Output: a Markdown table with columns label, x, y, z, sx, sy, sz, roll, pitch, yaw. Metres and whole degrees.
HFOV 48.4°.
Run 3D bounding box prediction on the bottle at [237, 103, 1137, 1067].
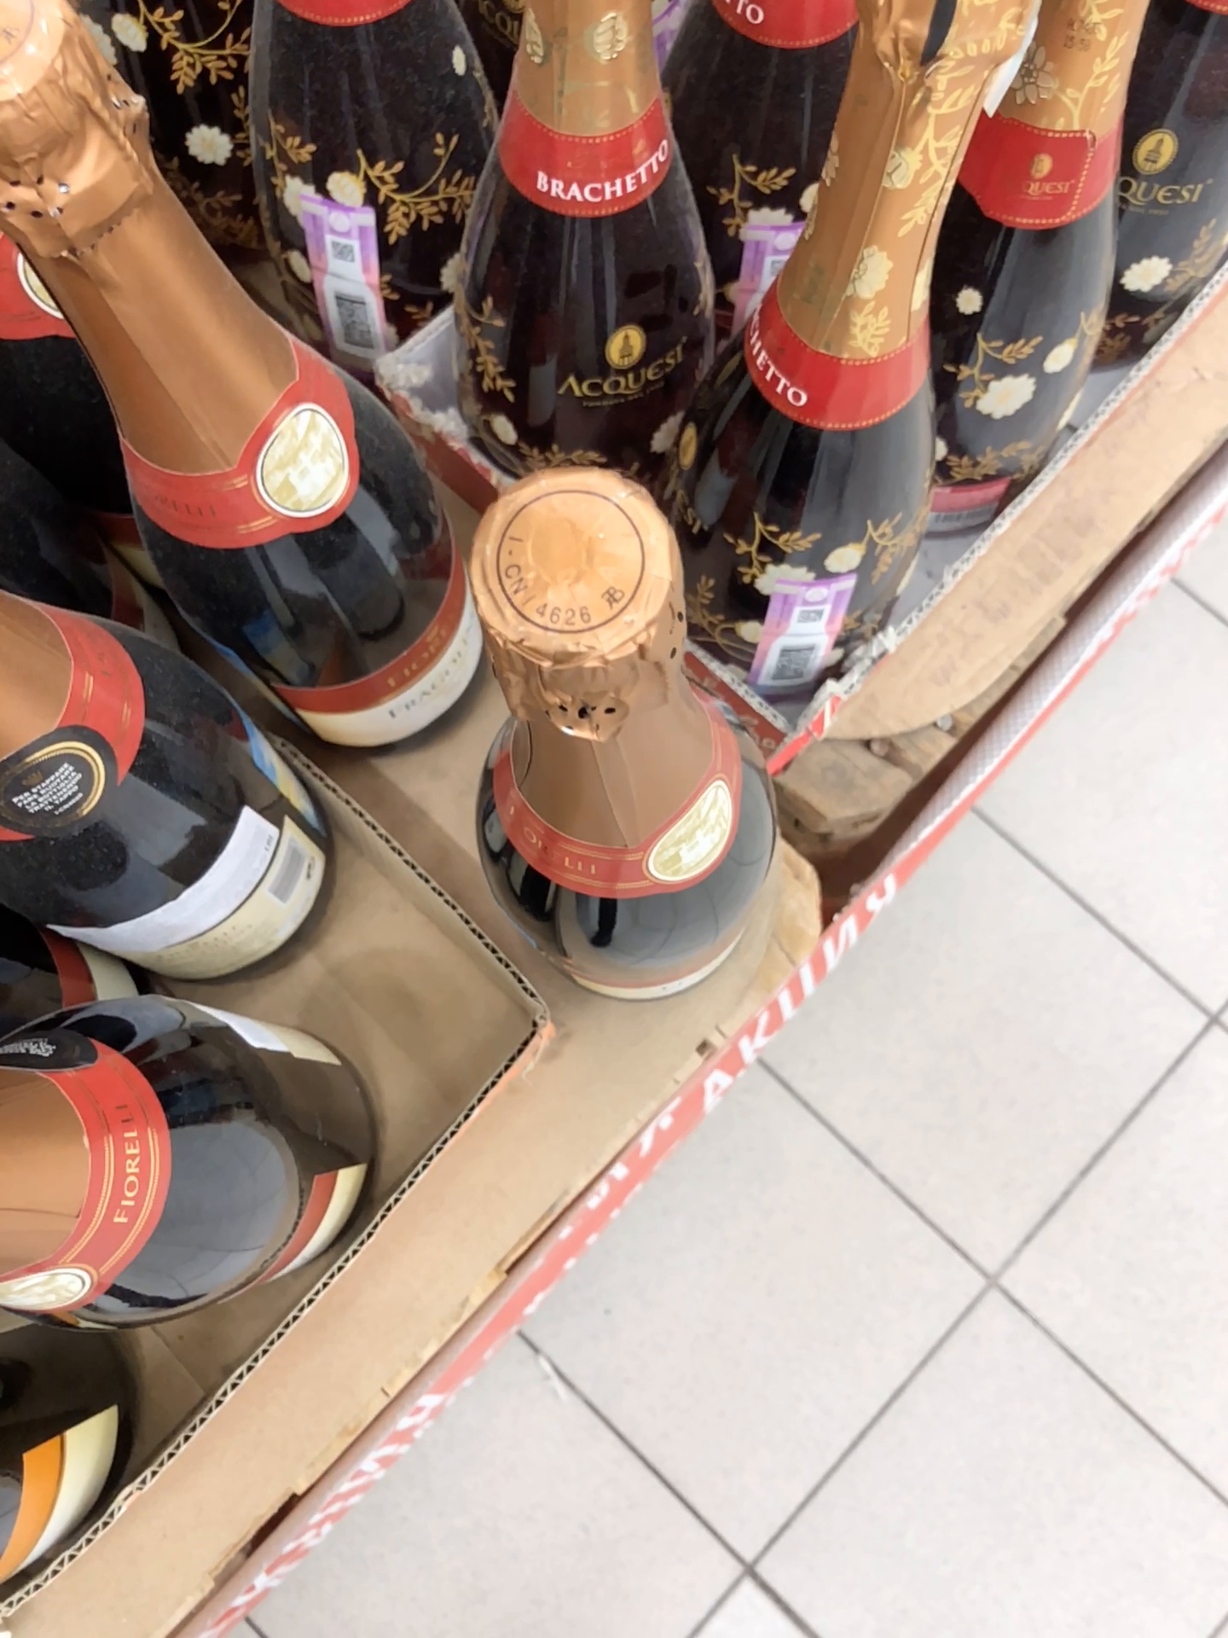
| label | x | y | z | sx | sy | sz | roll | pitch | yaw |
| --- | --- | --- | --- | --- | --- | --- | --- | --- | --- |
| bottle | 0.012 | -0.012 | 0.338 | 0.090 | 0.300 | 0.090 | 0 | 76 | 1 |
